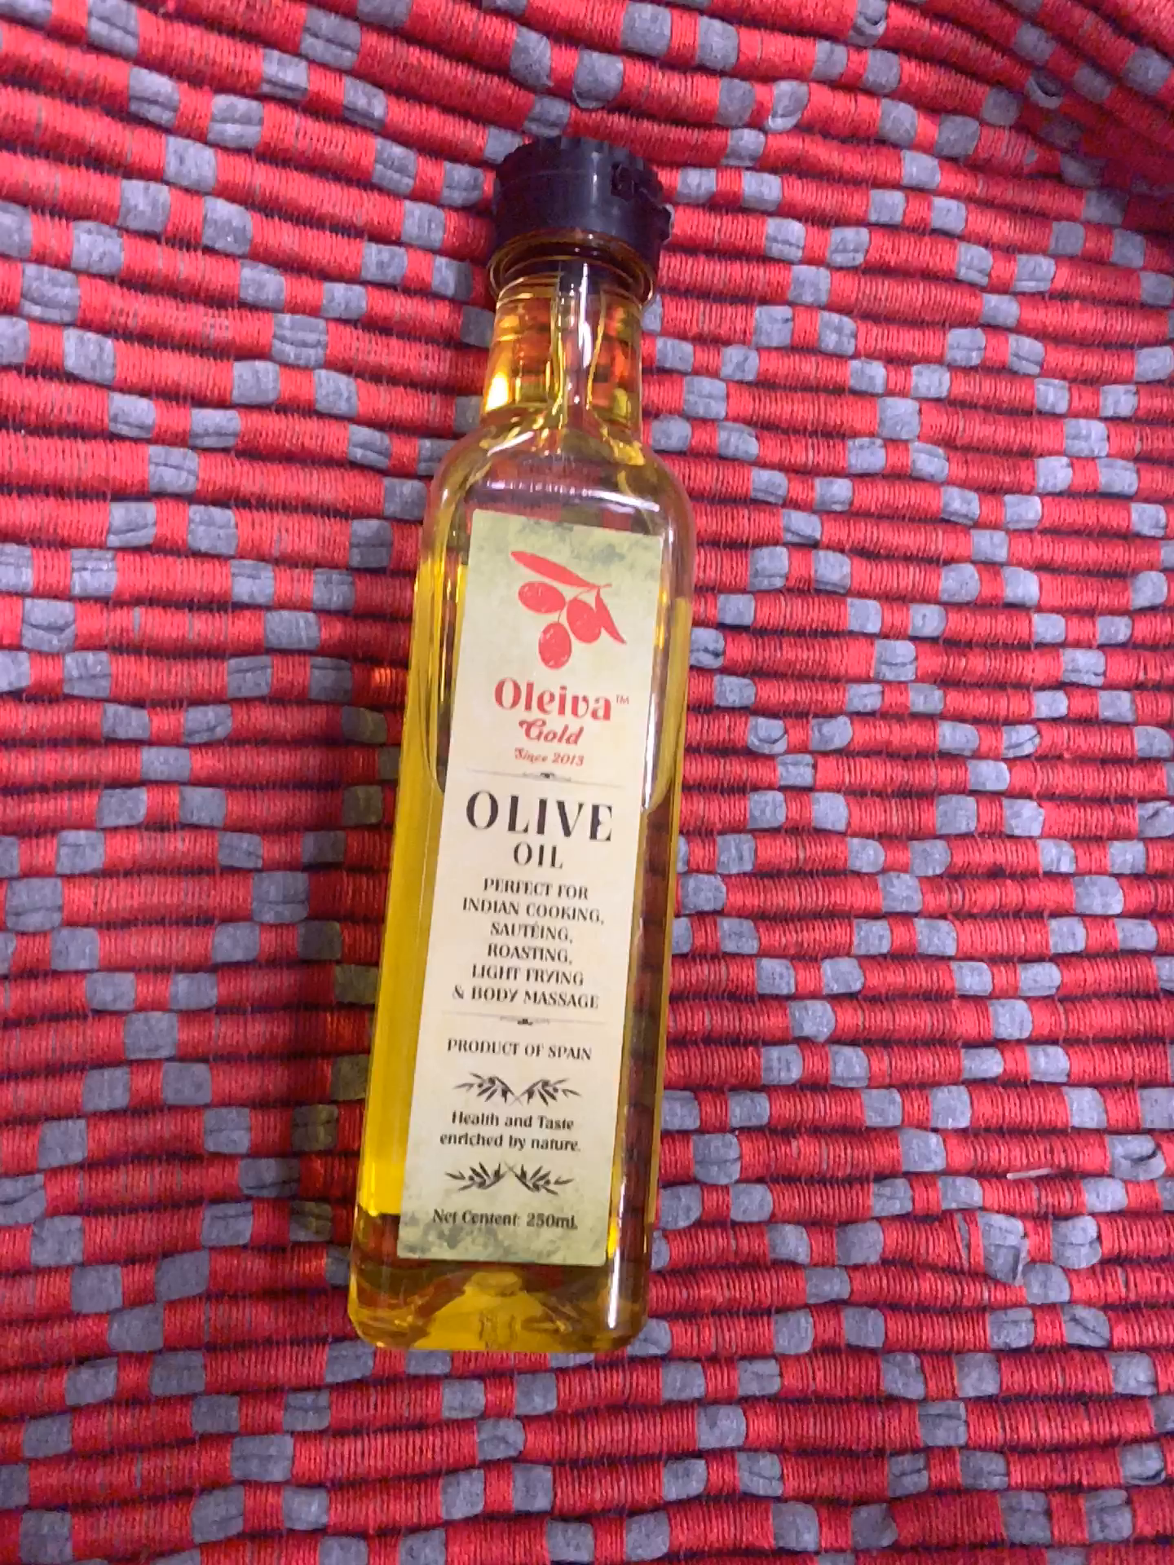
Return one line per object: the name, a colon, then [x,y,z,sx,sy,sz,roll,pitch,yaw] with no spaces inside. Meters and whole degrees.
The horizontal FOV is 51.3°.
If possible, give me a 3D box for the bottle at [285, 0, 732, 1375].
bottle: [-0.012,-0.021,0.203,0.050,0.050,0.210,5,81,-9]
